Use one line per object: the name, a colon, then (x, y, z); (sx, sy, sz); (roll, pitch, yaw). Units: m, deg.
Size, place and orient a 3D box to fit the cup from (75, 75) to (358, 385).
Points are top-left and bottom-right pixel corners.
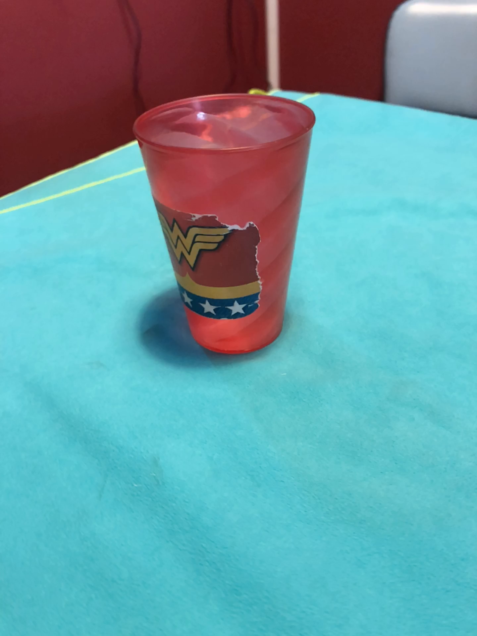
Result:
cup: (-0.007, -0.050, 0.272); (0.090, 0.109, 0.090); (-3, 37, 2)
